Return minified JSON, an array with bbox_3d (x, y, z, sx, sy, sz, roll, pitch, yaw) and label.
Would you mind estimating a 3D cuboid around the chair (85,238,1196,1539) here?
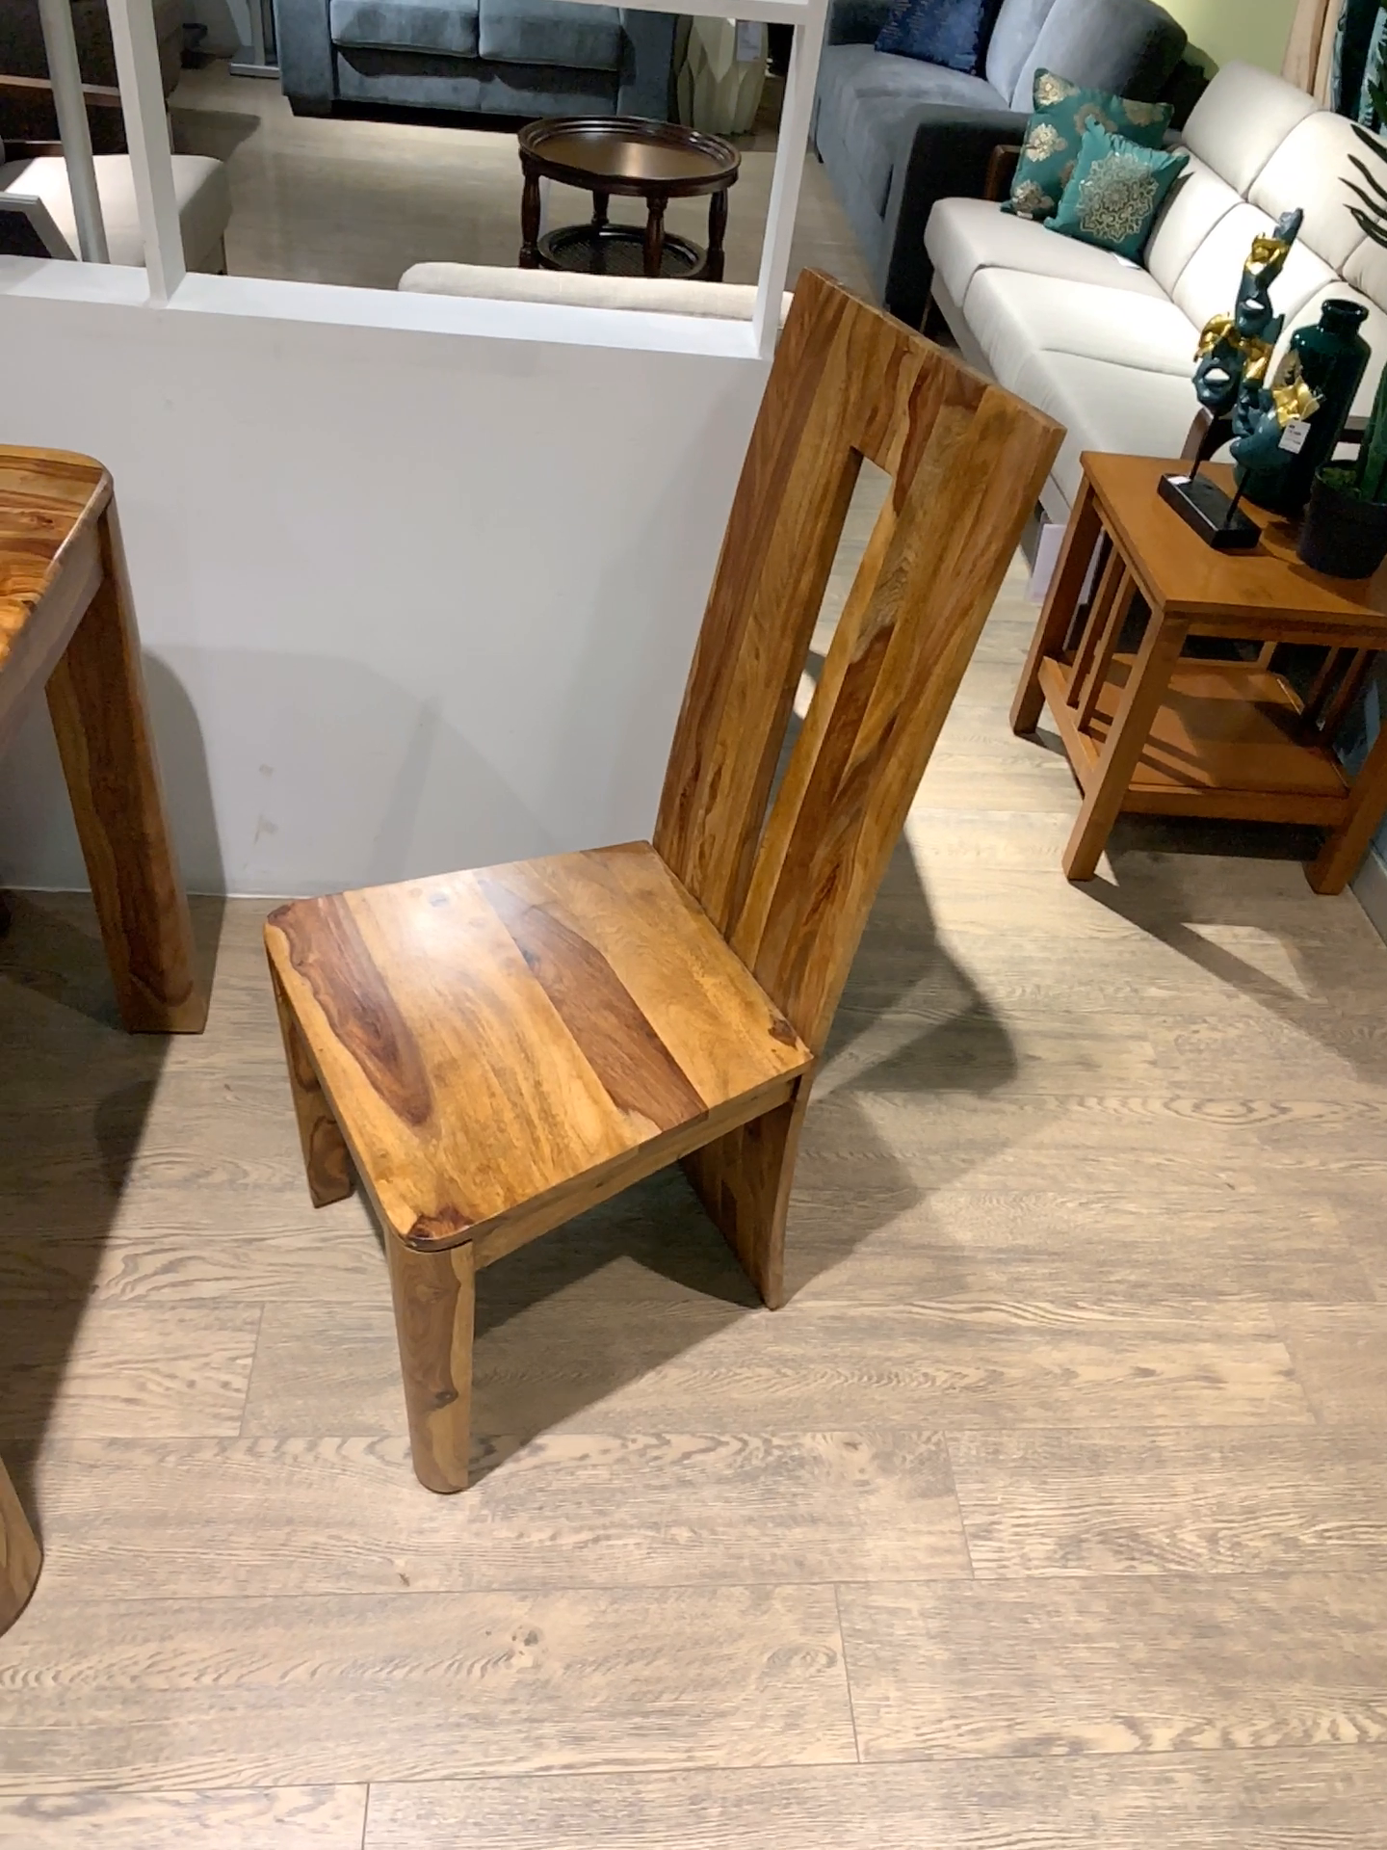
[{"bbox_3d":[-0.095,-0.016,1.292,0.601,0.966,0.501,-18,48,-26],"label":"chair"}]
